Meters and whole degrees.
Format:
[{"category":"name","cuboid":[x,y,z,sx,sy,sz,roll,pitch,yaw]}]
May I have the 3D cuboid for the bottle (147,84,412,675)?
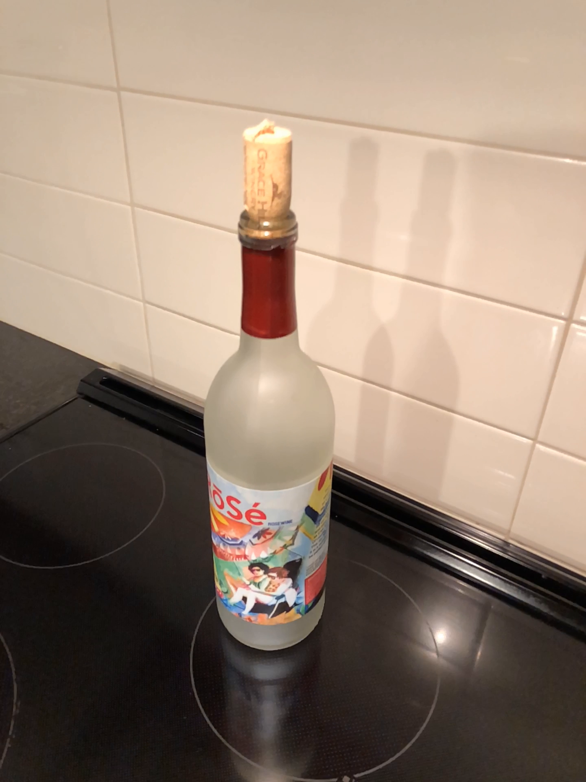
[{"category":"bottle","cuboid":[-0.008,0.012,0.363,0.080,0.318,0.080,1,33,-1]}]
